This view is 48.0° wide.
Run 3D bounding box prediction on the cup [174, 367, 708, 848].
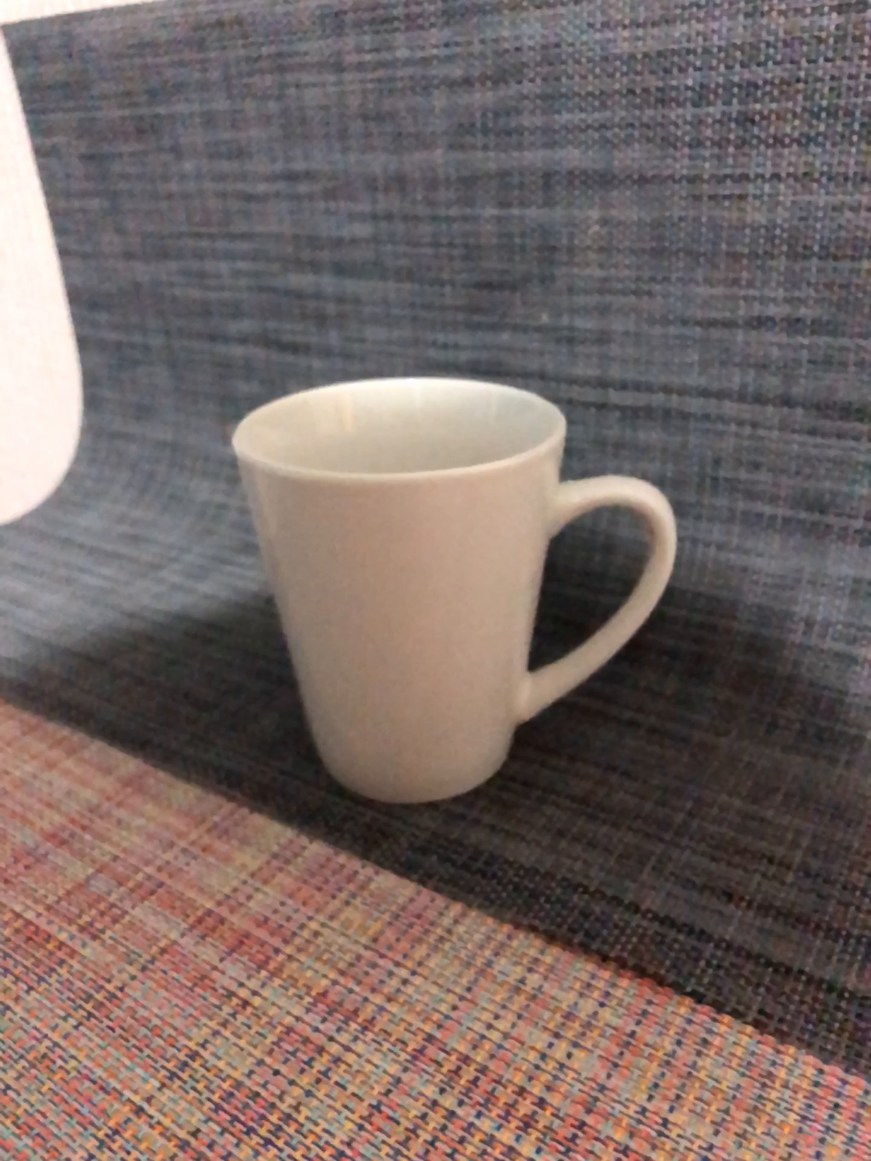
[{"bbox_3d":[0.004,0.002,0.268,0.111,0.096,0.097,-1,25,3],"label":"cup"}]
